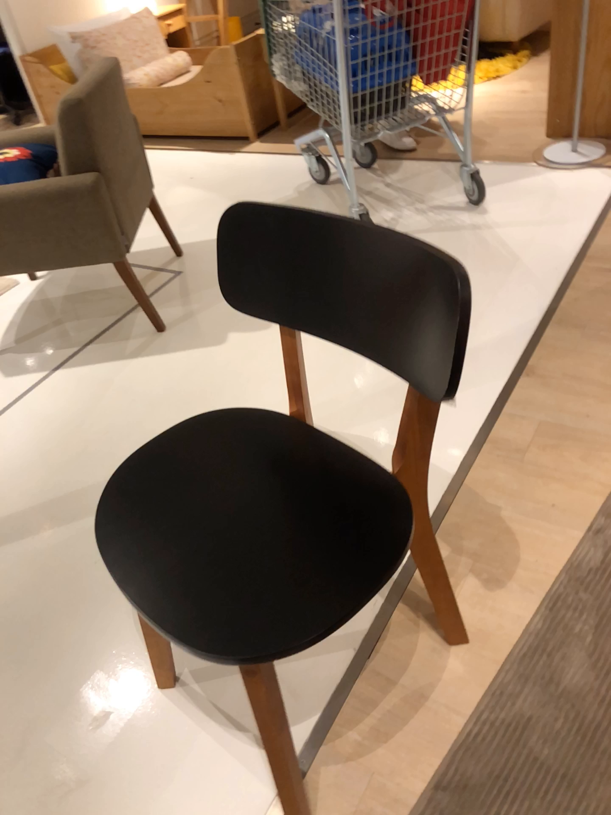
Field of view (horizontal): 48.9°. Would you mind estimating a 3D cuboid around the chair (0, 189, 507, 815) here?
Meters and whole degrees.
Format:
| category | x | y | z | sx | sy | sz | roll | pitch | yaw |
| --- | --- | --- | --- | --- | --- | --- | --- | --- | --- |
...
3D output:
| category | x | y | z | sx | sy | sz | roll | pitch | yaw |
| --- | --- | --- | --- | --- | --- | --- | --- | --- | --- |
| chair | -0.049 | 0.153 | 0.974 | 0.462 | 0.705 | 0.482 | 27 | 53 | 38 |
